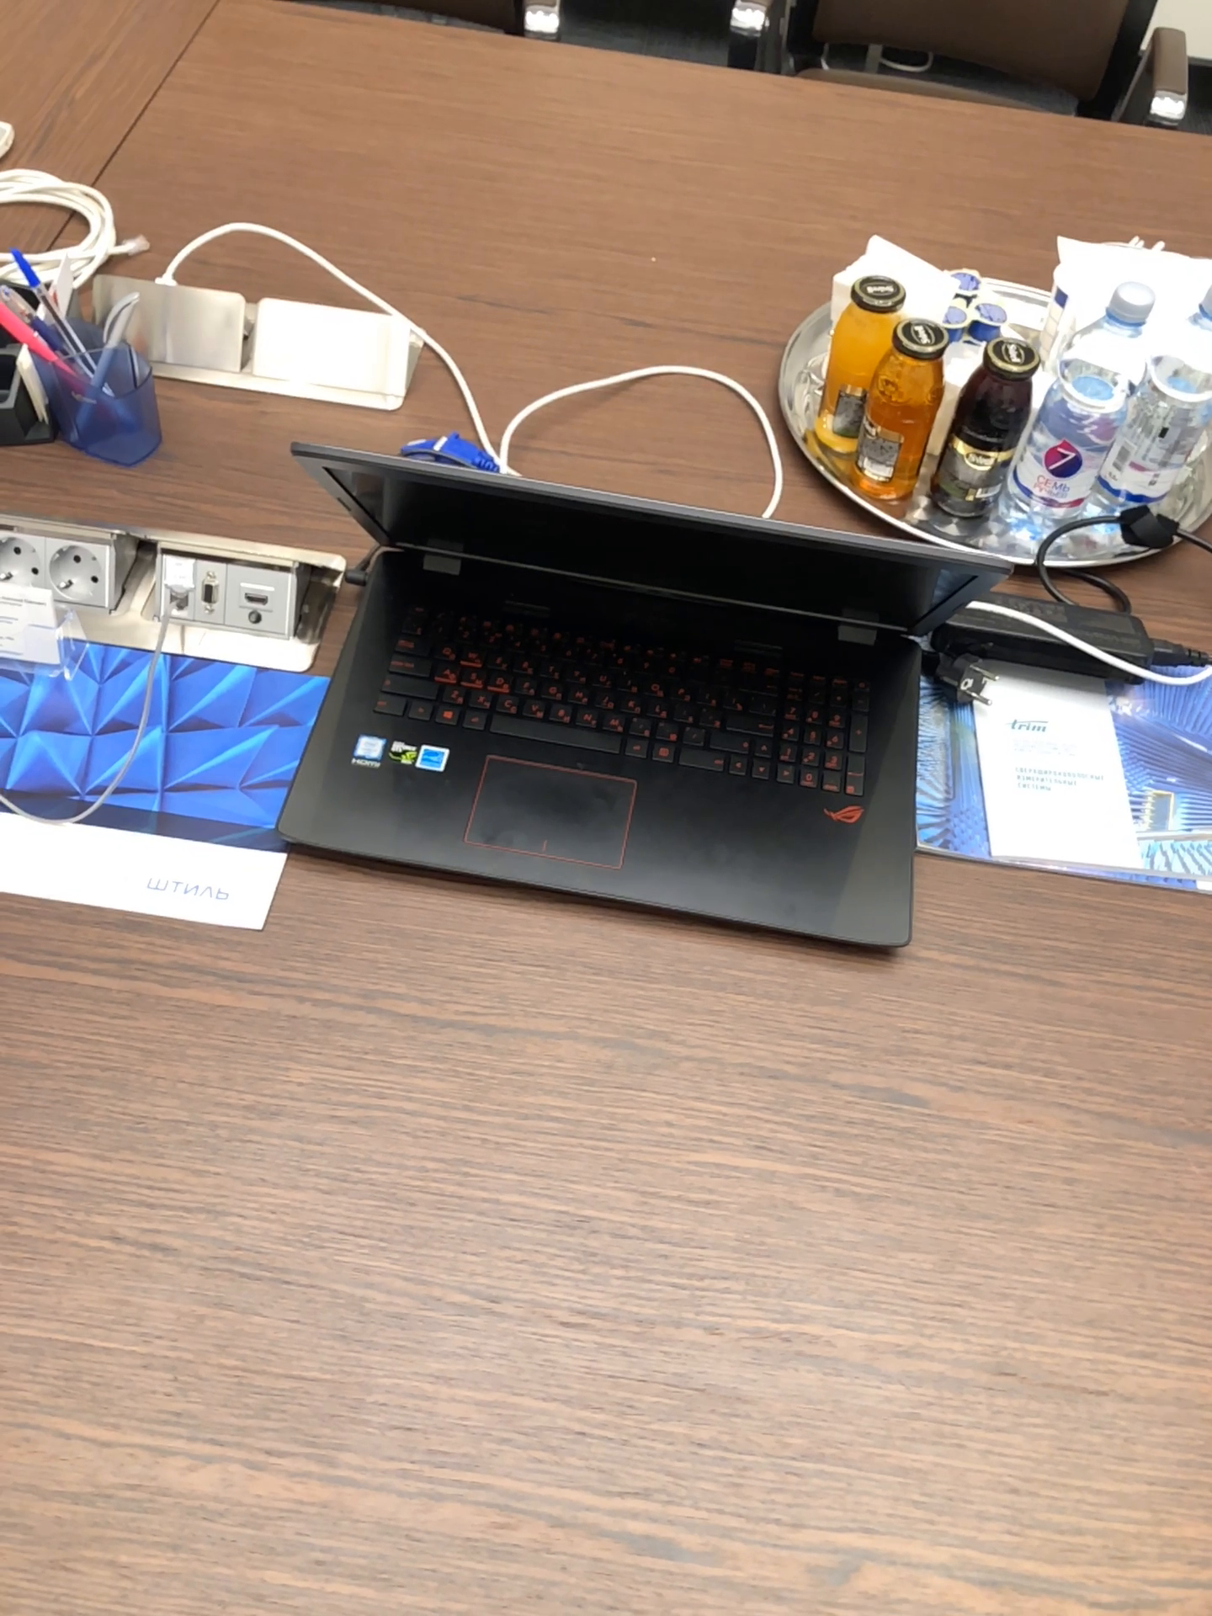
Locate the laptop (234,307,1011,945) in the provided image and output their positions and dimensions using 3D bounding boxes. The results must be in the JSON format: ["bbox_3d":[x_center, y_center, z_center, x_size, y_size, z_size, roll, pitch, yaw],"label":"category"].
[{"bbox_3d":[0.017,-0.105,0.778,0.376,0.189,0.238,10,55,2],"label":"laptop"}]
